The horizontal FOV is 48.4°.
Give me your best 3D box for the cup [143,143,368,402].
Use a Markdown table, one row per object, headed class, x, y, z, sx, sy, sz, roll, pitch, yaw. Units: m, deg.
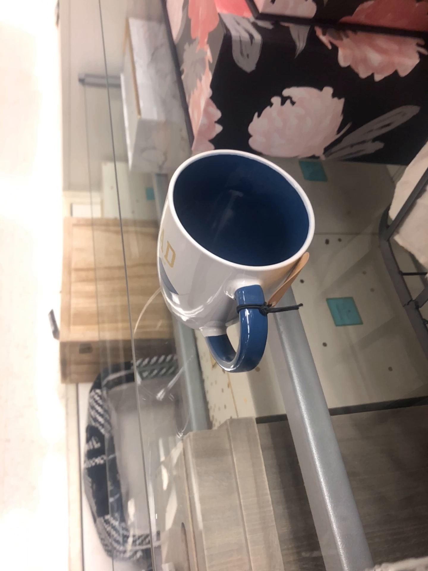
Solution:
| class | x | y | z | sx | sy | sz | roll | pitch | yaw |
| --- | --- | --- | --- | --- | --- | --- | --- | --- | --- |
| cup | 0.015 | -0.008 | 0.343 | 0.116 | 0.096 | 0.150 | 2 | 58 | -16 |
